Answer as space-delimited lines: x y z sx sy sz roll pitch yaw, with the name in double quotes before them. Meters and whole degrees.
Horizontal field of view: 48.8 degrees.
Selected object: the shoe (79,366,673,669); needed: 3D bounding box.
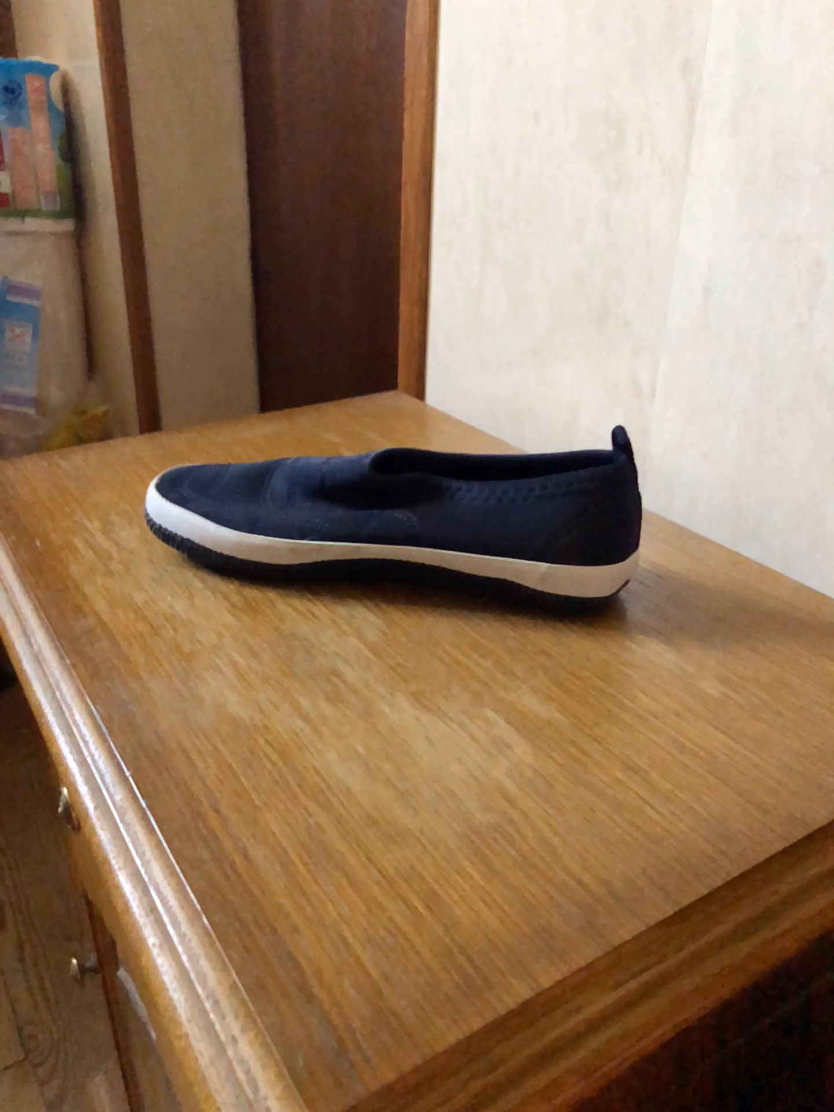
"shoe" -0.016 -0.028 0.449 0.260 0.080 0.101 9 27 14
